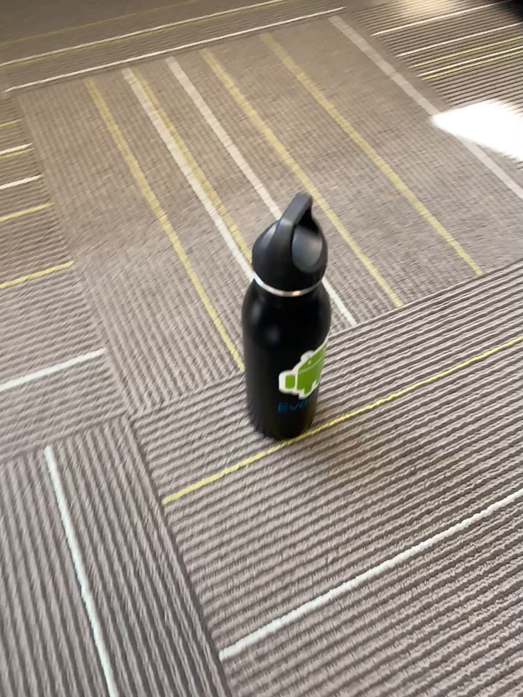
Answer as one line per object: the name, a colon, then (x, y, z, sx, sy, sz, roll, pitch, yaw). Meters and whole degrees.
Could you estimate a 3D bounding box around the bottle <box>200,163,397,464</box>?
bottle: (0.022, -0.008, 0.425, 0.080, 0.239, 0.090, 38, 65, 21)
